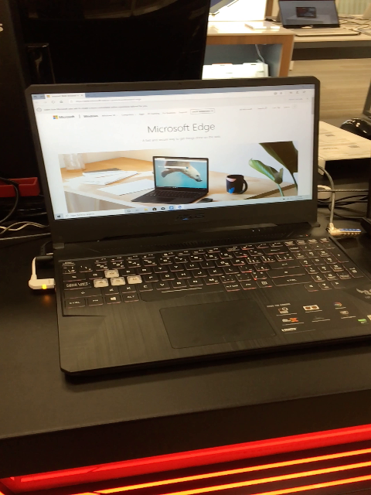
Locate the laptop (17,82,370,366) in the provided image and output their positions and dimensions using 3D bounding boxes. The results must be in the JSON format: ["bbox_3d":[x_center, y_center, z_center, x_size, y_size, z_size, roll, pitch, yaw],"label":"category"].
[{"bbox_3d":[0.032,-0.055,0.581,0.396,0.207,0.317,-6,34,-10],"label":"laptop"}]
